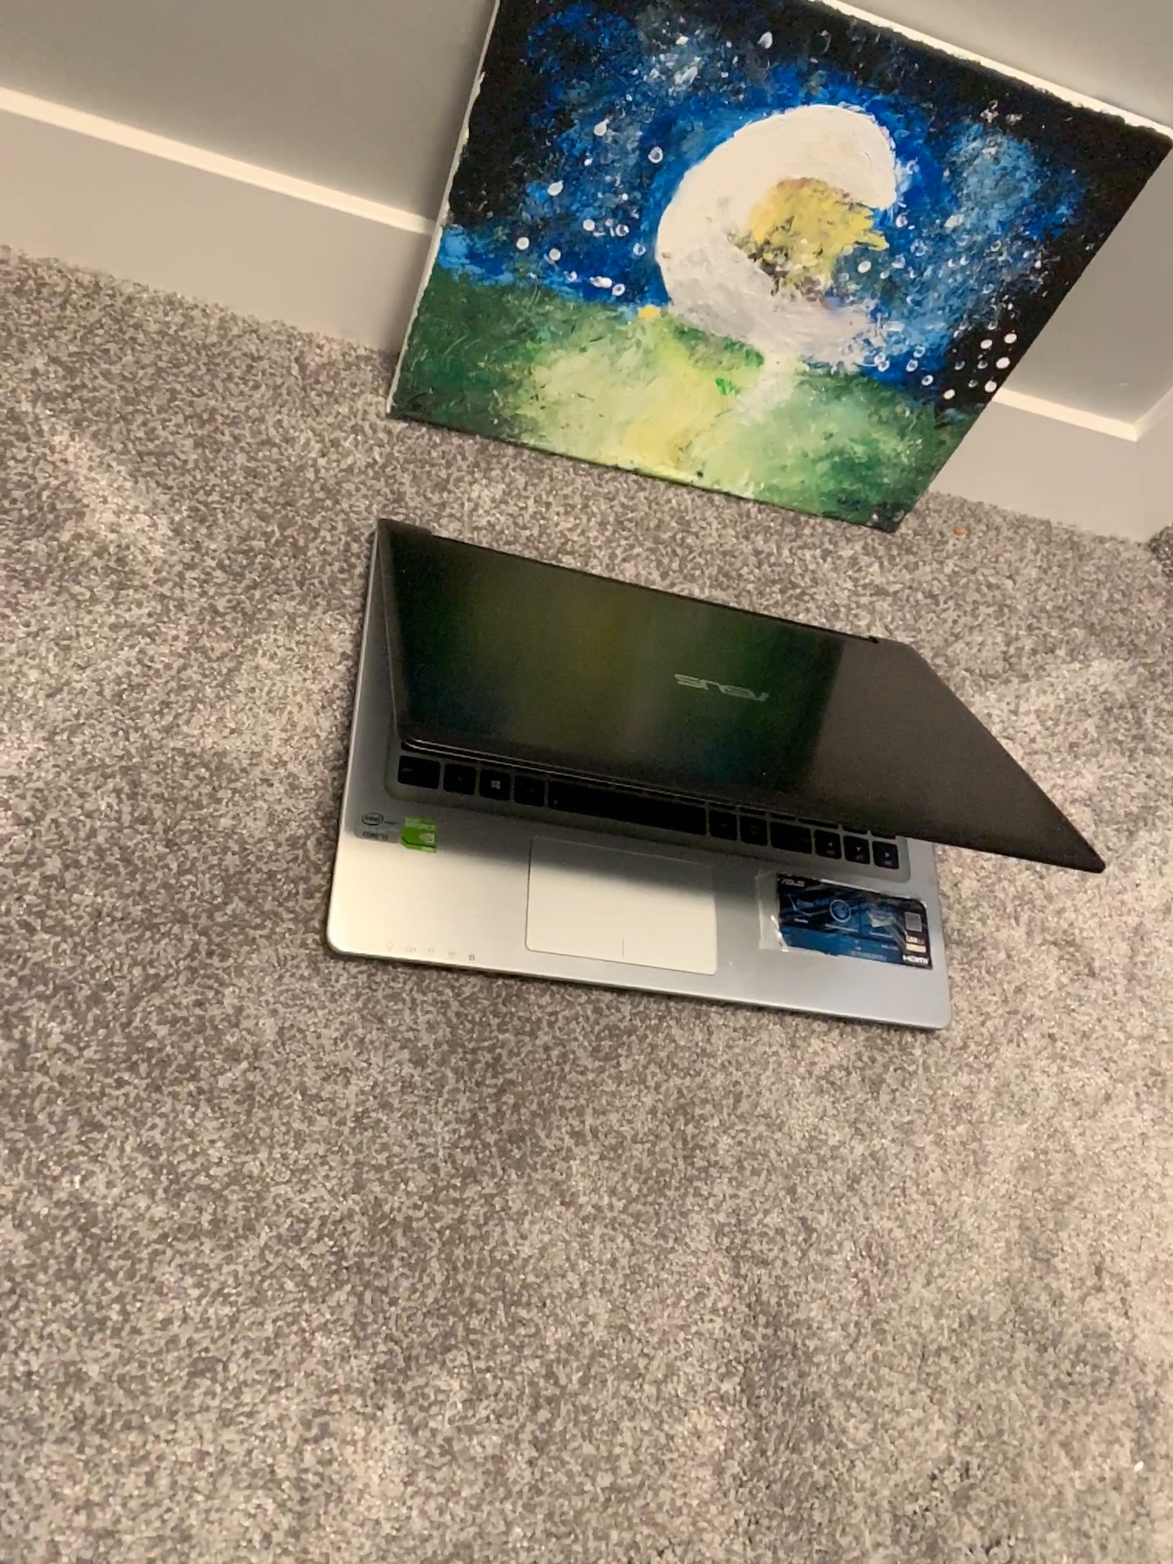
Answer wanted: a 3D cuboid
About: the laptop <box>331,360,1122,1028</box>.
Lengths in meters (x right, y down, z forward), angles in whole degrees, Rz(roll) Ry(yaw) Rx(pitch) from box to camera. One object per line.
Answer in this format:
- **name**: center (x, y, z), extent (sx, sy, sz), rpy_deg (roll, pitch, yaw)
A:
- **laptop**: center (0.068, -0.030, 0.629), extent (0.355, 0.134, 0.253), rpy_deg (10, 63, -18)
